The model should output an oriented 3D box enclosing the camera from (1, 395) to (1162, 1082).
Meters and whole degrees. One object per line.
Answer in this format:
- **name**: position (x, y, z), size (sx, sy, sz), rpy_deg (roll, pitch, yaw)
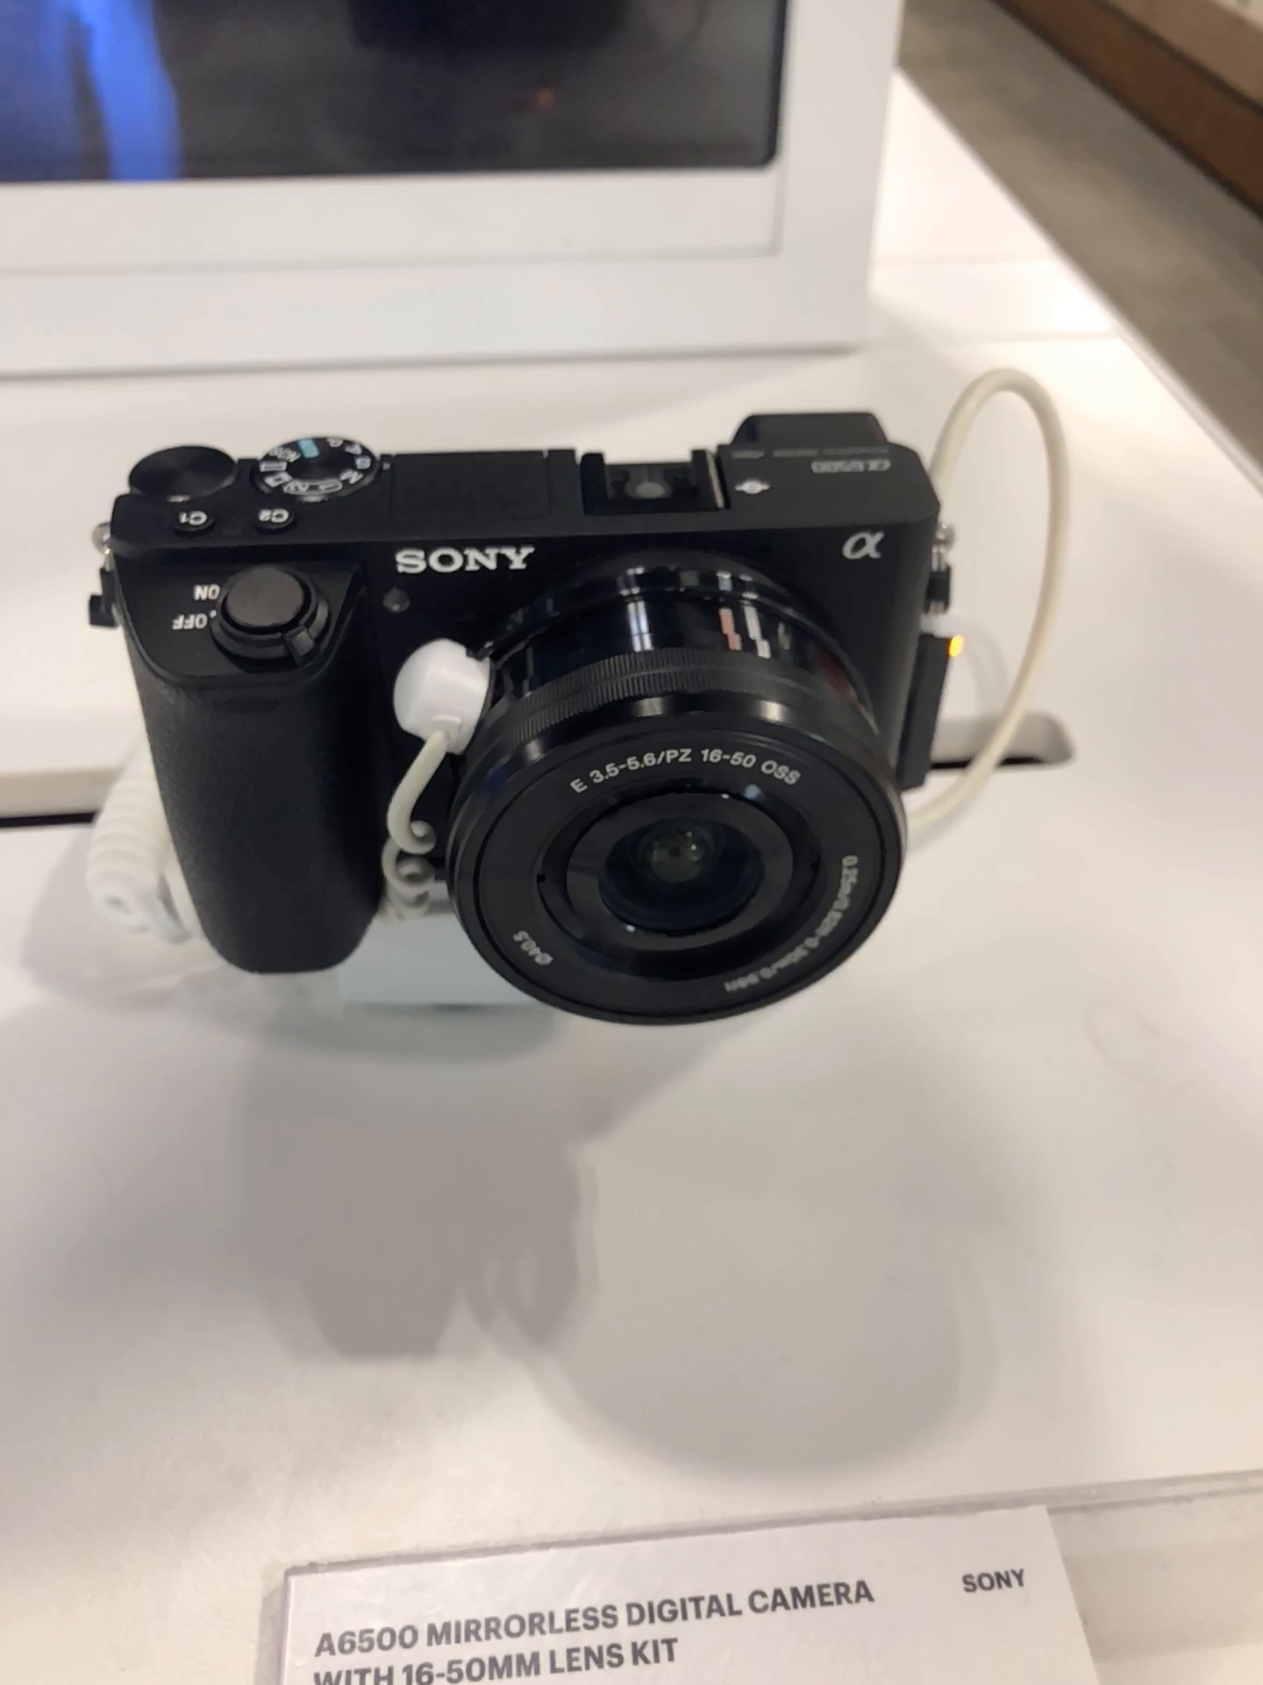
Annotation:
- **camera**: position (-0.008, -0.019, 0.220), size (0.140, 0.070, 0.070), rpy_deg (-4, 42, -7)
